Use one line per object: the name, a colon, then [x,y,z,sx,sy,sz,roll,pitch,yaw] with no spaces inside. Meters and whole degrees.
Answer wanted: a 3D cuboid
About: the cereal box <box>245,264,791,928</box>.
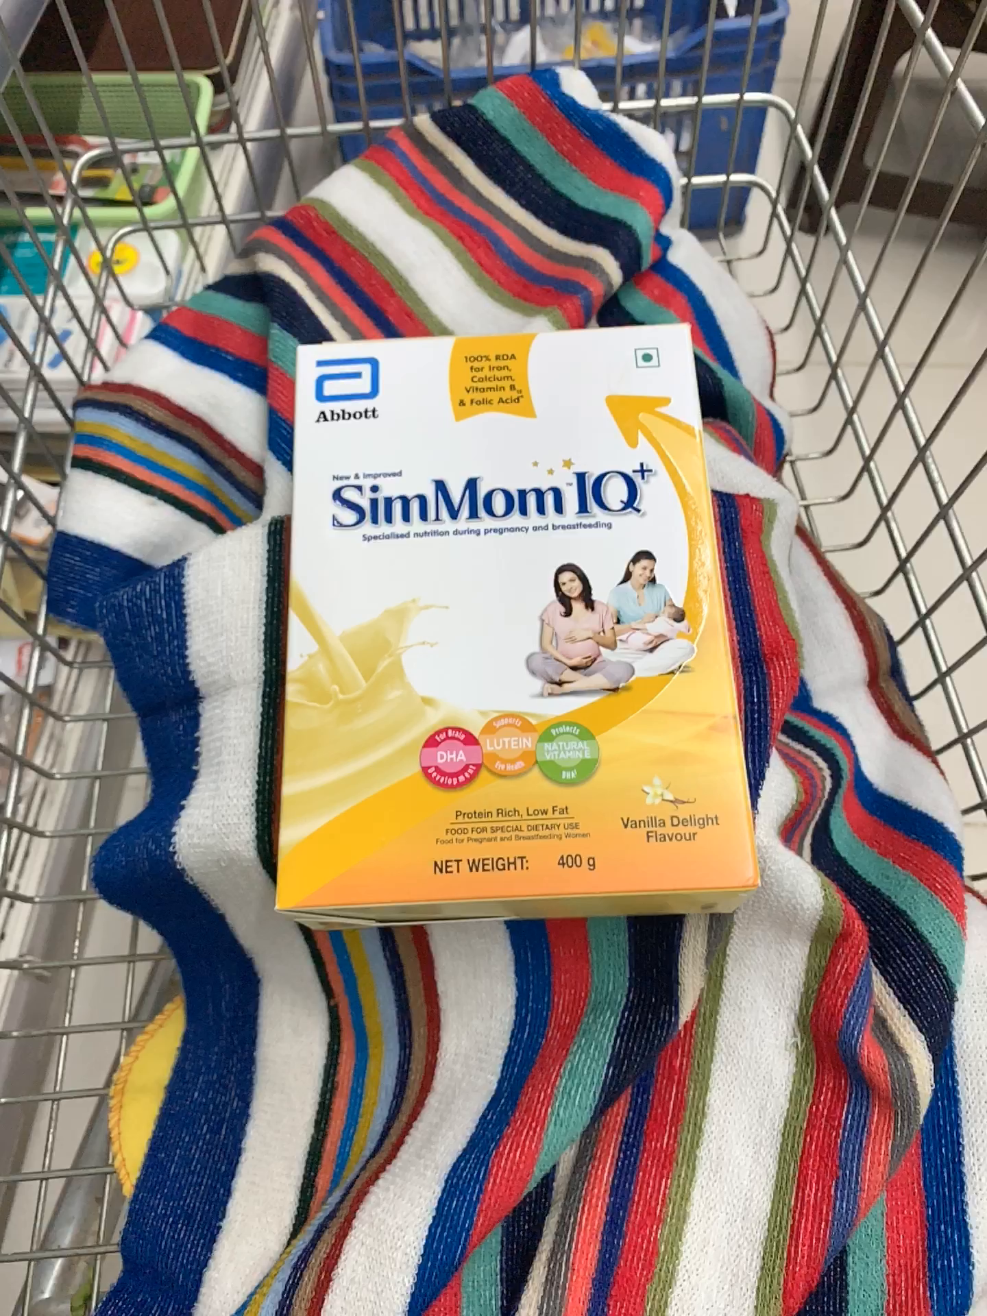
cereal box: [0.005,-0.022,0.319,0.140,0.050,0.200,-2,70,2]
